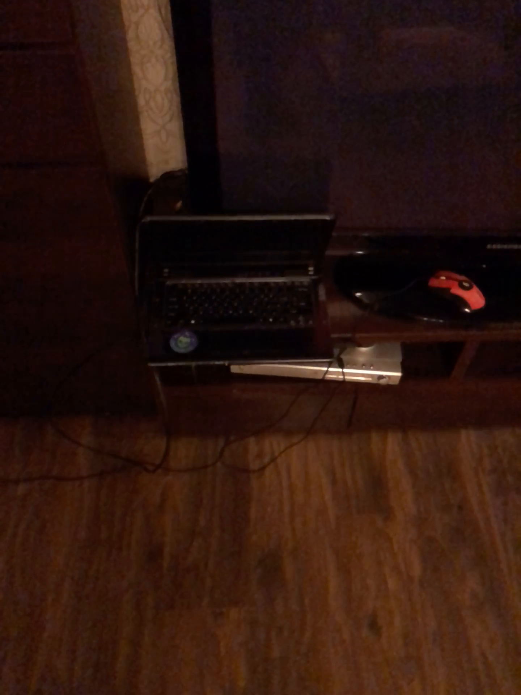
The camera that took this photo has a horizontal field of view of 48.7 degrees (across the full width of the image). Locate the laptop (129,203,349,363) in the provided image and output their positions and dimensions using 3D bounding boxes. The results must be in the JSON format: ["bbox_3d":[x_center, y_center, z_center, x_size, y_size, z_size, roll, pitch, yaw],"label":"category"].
[{"bbox_3d":[-0.039,-0.112,1.010,0.336,0.183,0.200,-2,52,-4],"label":"laptop"}]
